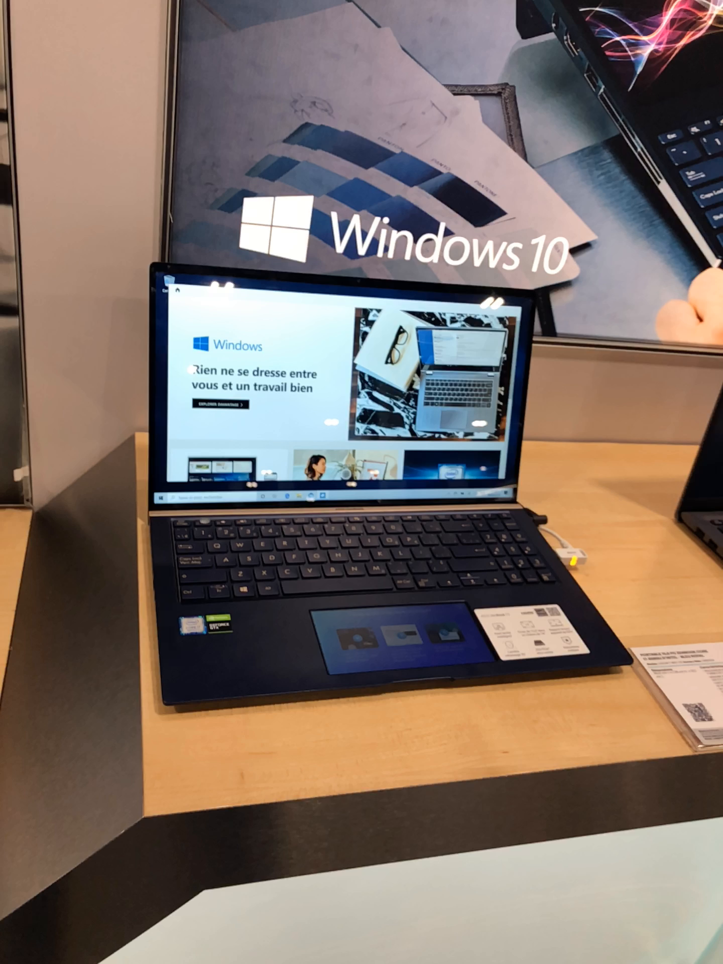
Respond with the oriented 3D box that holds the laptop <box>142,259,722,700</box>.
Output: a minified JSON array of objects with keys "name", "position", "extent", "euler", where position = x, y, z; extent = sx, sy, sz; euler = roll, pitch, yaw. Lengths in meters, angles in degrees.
[{"name":"laptop","position":[0.017,-0.018,0.605],"extent":[0.338,0.183,0.274],"euler":[0,32,-18]}]
